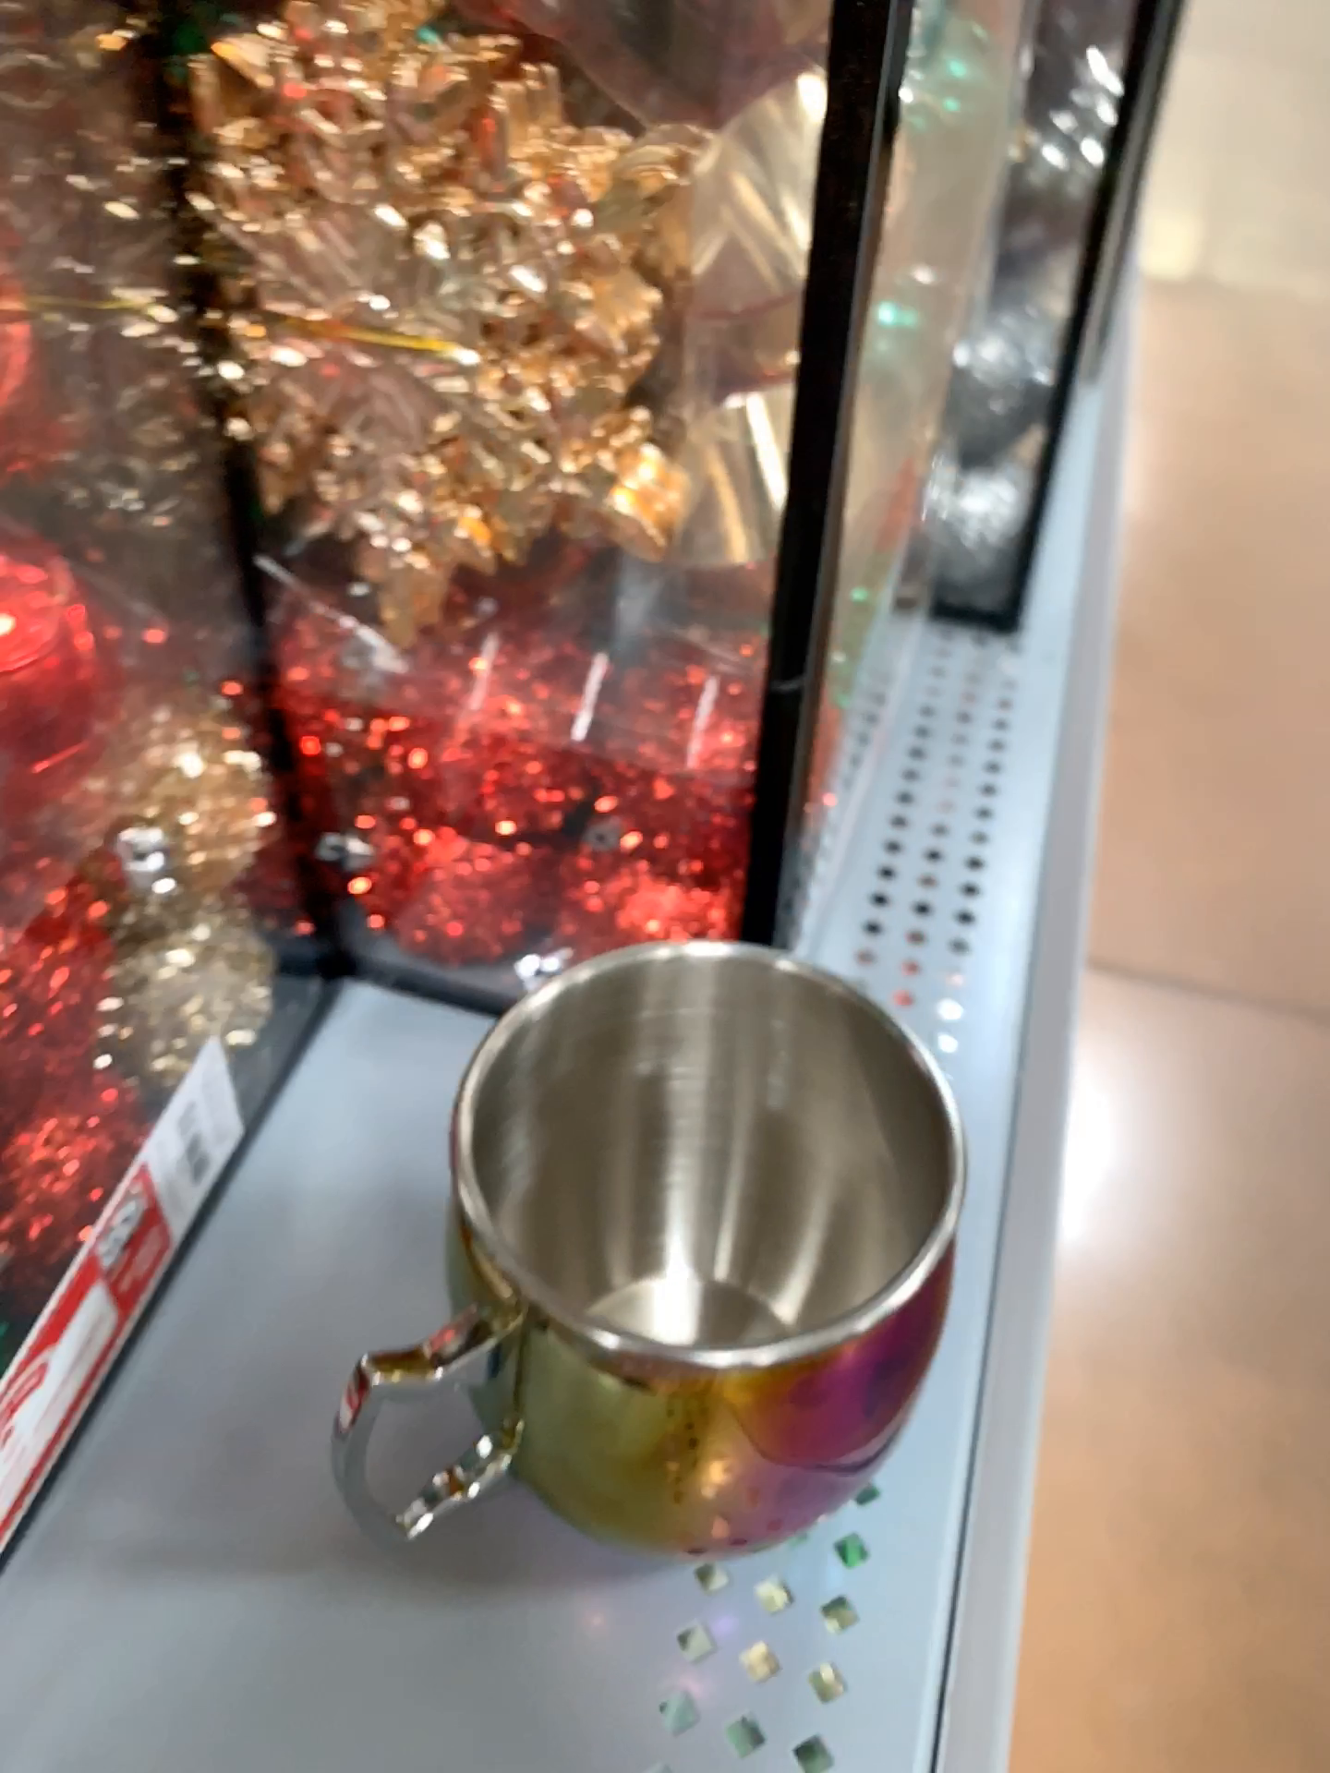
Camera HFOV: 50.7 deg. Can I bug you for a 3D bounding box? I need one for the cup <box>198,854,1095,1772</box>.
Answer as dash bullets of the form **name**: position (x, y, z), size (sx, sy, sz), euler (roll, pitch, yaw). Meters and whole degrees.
- **cup**: position (-0.003, 0.073, 0.250), size (0.110, 0.090, 0.087), euler (-30, 52, -30)
